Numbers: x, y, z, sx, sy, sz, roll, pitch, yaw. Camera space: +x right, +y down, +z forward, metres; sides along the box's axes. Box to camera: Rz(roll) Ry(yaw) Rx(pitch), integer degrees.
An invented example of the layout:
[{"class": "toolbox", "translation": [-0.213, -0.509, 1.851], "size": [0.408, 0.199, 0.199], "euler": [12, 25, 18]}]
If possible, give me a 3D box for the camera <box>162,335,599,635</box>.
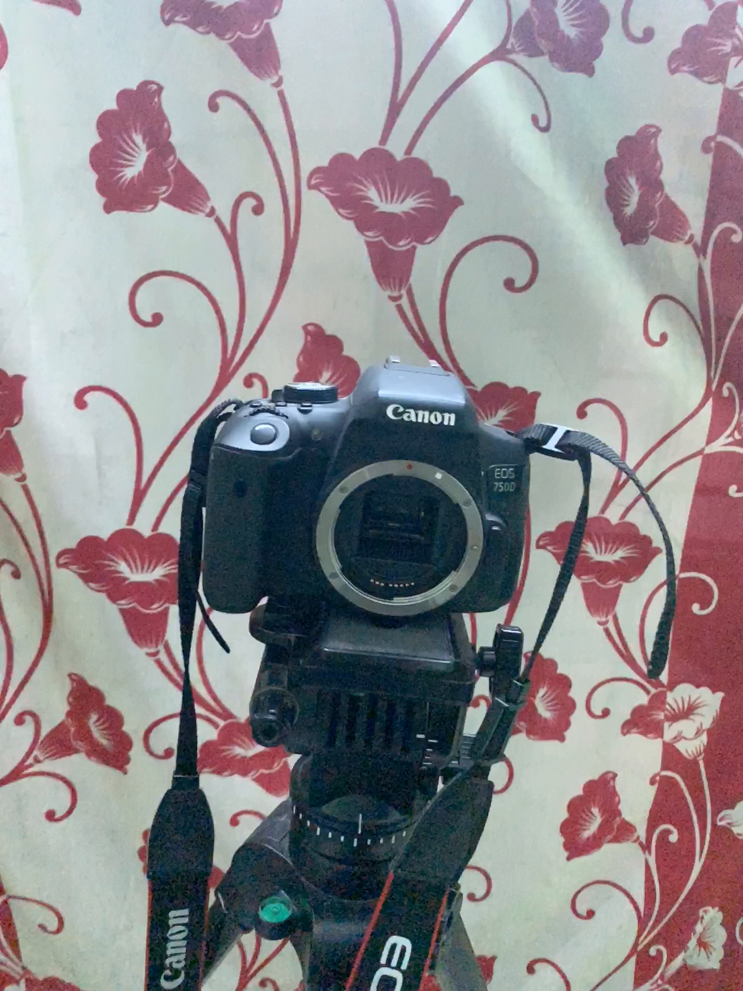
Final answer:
[{"class": "camera", "translation": [-0.001, -0.009, 0.303], "size": [0.142, 0.088, 0.085], "euler": [4, 15, -4]}]
